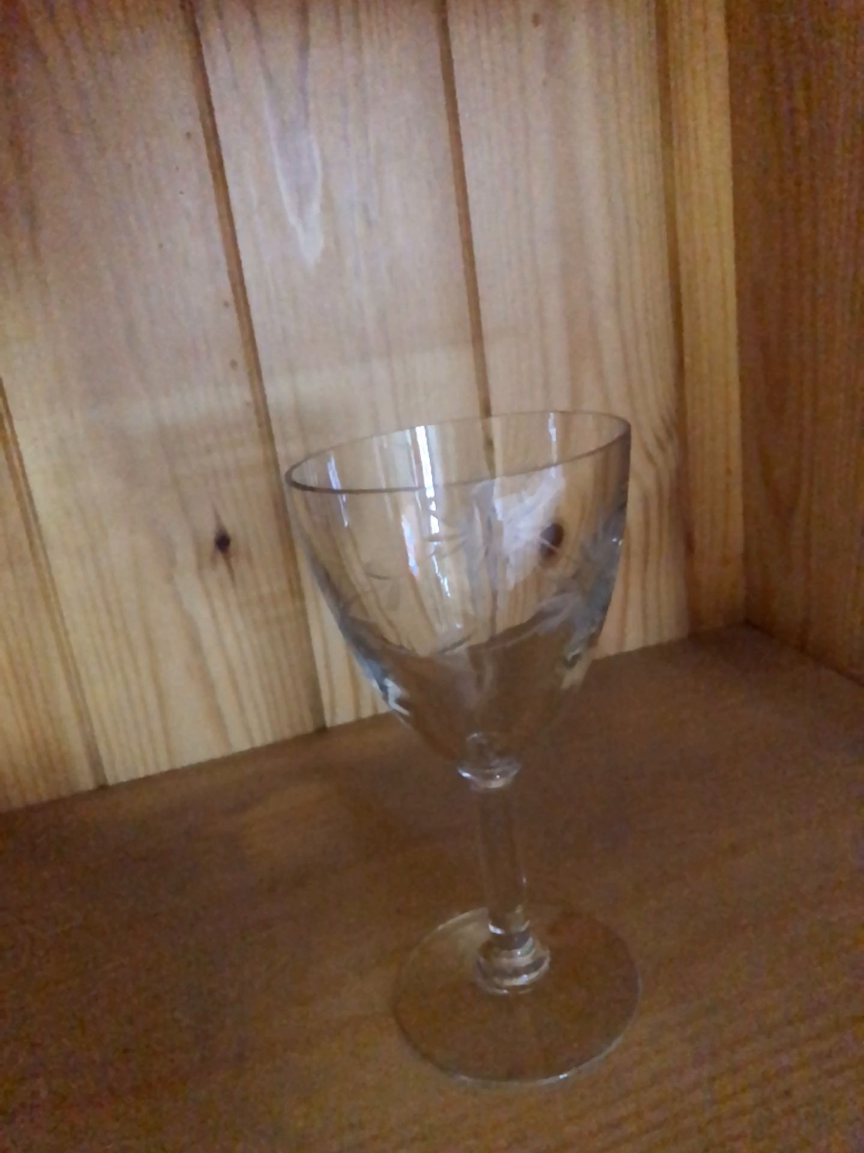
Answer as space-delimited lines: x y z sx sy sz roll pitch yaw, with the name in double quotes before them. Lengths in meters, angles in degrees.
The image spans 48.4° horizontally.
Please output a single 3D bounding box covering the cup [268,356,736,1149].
"cup" 0.015 0.032 0.205 0.070 0.139 0.070 -7 18 2
